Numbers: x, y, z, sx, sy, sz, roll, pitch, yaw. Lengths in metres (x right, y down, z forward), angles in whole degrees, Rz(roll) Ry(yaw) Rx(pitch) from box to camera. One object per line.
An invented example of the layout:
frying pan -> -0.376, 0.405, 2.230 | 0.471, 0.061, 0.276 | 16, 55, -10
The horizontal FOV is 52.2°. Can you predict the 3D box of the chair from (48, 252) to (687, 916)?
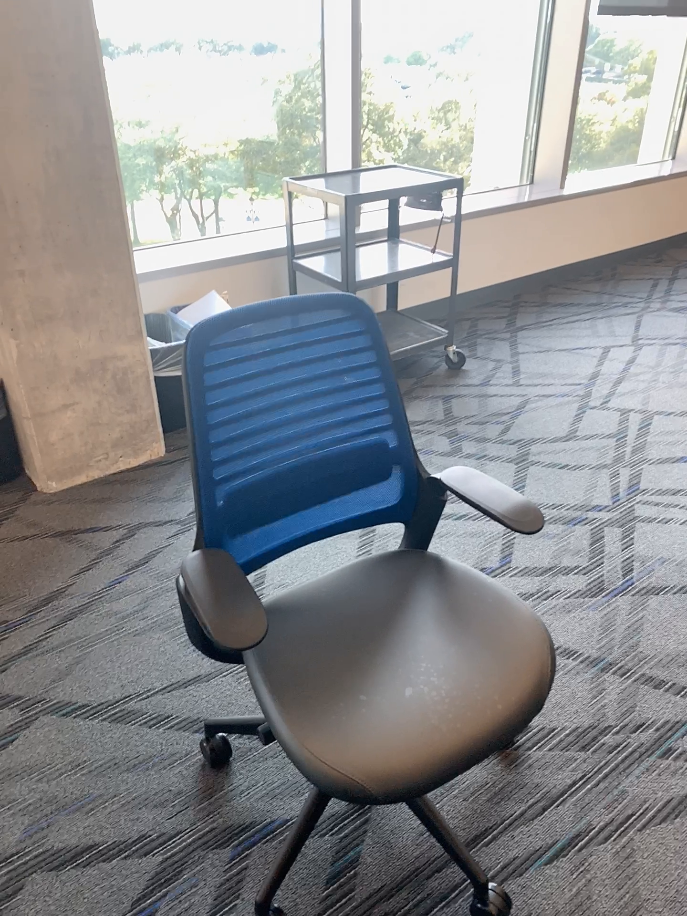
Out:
chair -> 0.072, 0.234, 1.153 | 0.702, 0.883, 0.684 | -21, 36, -31
